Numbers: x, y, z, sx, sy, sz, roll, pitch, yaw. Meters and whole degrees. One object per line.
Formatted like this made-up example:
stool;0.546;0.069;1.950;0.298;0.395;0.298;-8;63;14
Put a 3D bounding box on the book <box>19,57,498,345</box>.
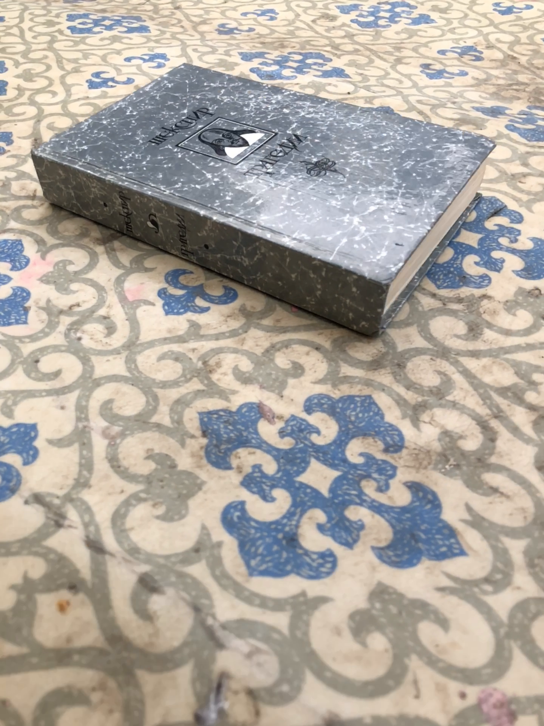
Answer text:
book;-0.007;-0.102;0.323;0.207;0.033;0.135;25;53;21
